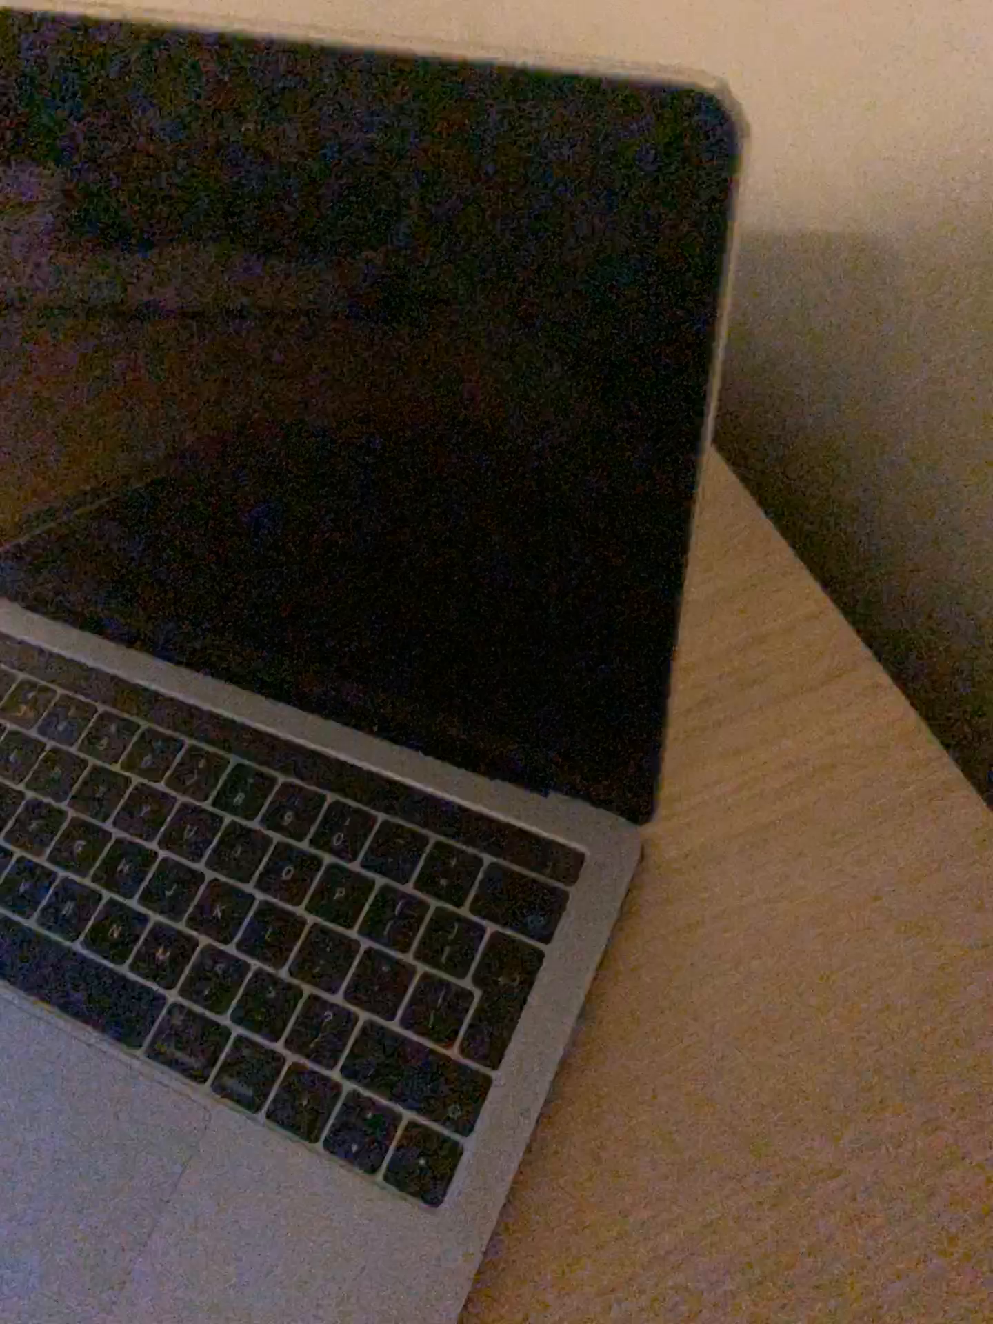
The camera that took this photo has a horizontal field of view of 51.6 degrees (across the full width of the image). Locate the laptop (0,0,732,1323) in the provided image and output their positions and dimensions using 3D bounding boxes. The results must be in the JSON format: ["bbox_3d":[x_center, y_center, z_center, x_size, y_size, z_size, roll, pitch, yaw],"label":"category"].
[{"bbox_3d":[-0.133,0.022,0.245,0.294,0.198,0.257,18,64,20],"label":"laptop"}]
